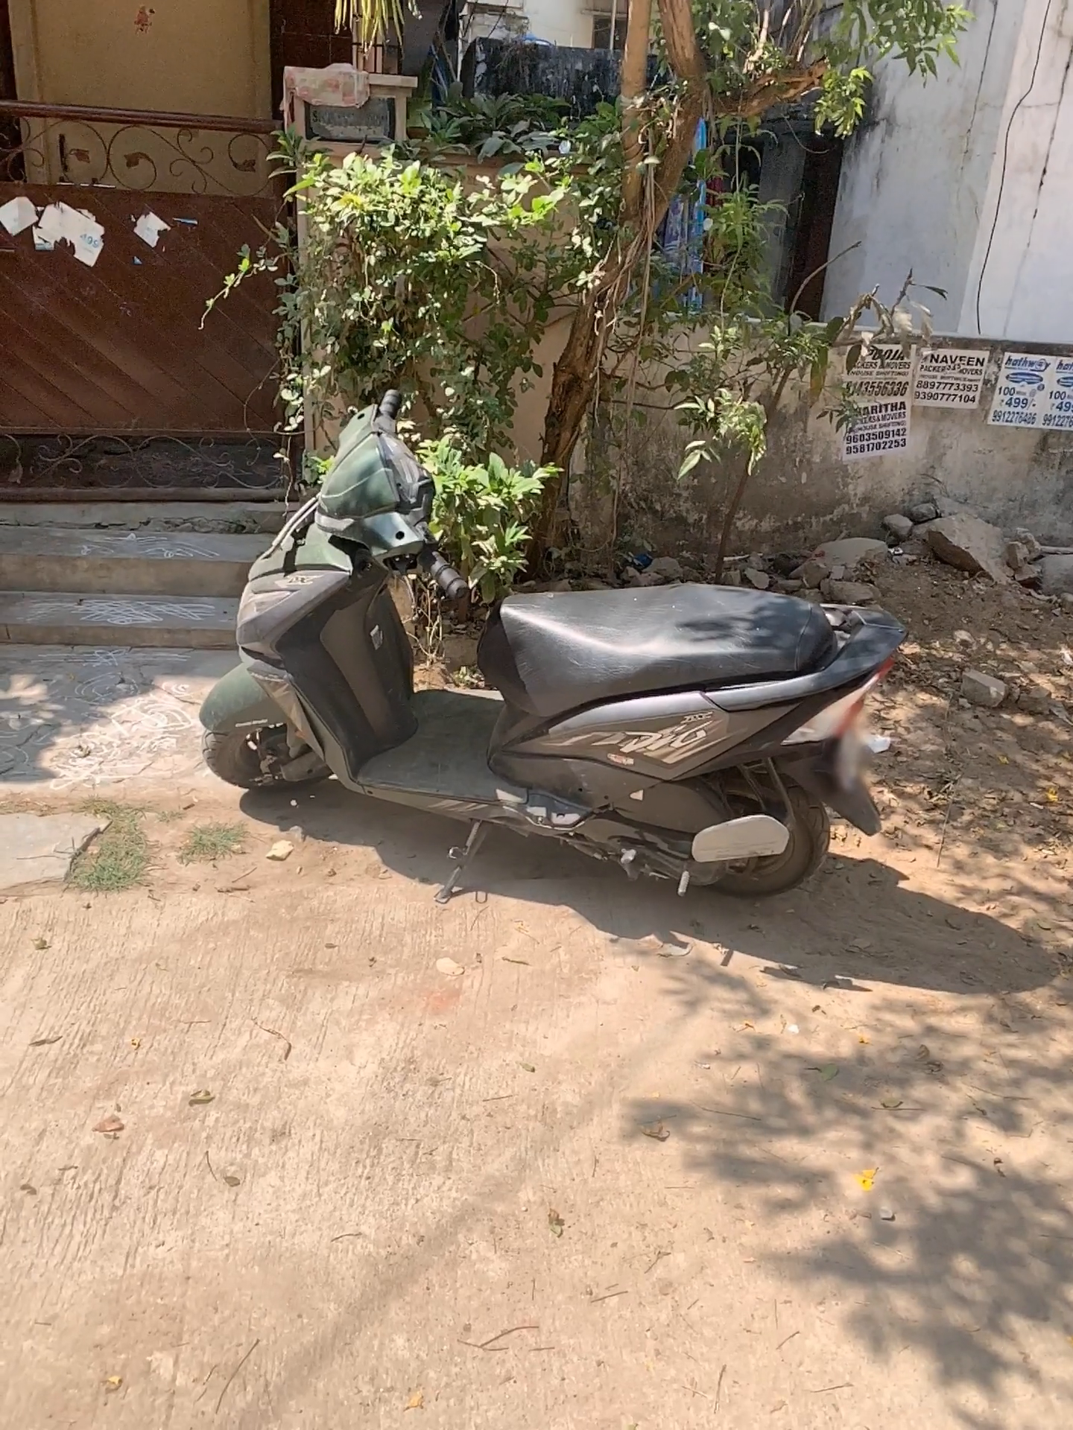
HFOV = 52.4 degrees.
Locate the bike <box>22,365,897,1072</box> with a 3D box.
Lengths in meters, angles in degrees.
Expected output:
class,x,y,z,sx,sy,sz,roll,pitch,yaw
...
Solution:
class,x,y,z,sx,sy,sz,roll,pitch,yaw
bike,-0.113,-0.034,2.370,1.528,1.175,0.626,8,24,8
